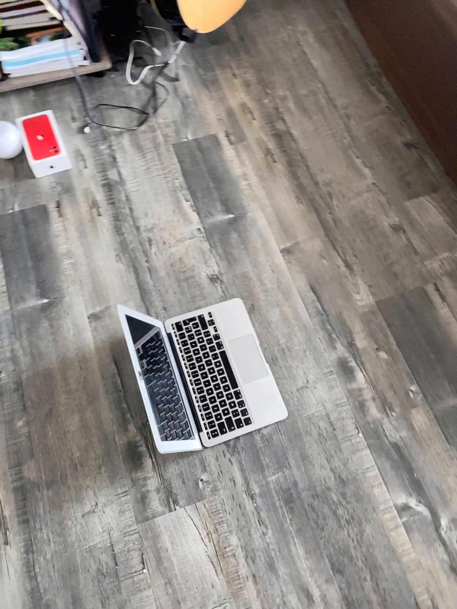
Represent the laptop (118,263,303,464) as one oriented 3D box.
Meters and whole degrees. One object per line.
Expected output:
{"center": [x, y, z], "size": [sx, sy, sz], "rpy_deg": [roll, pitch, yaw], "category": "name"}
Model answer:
{"center": [-0.042, 0.117, 0.918], "size": [0.254, 0.160, 0.290], "rpy_deg": [-19, 67, -8], "category": "laptop"}
